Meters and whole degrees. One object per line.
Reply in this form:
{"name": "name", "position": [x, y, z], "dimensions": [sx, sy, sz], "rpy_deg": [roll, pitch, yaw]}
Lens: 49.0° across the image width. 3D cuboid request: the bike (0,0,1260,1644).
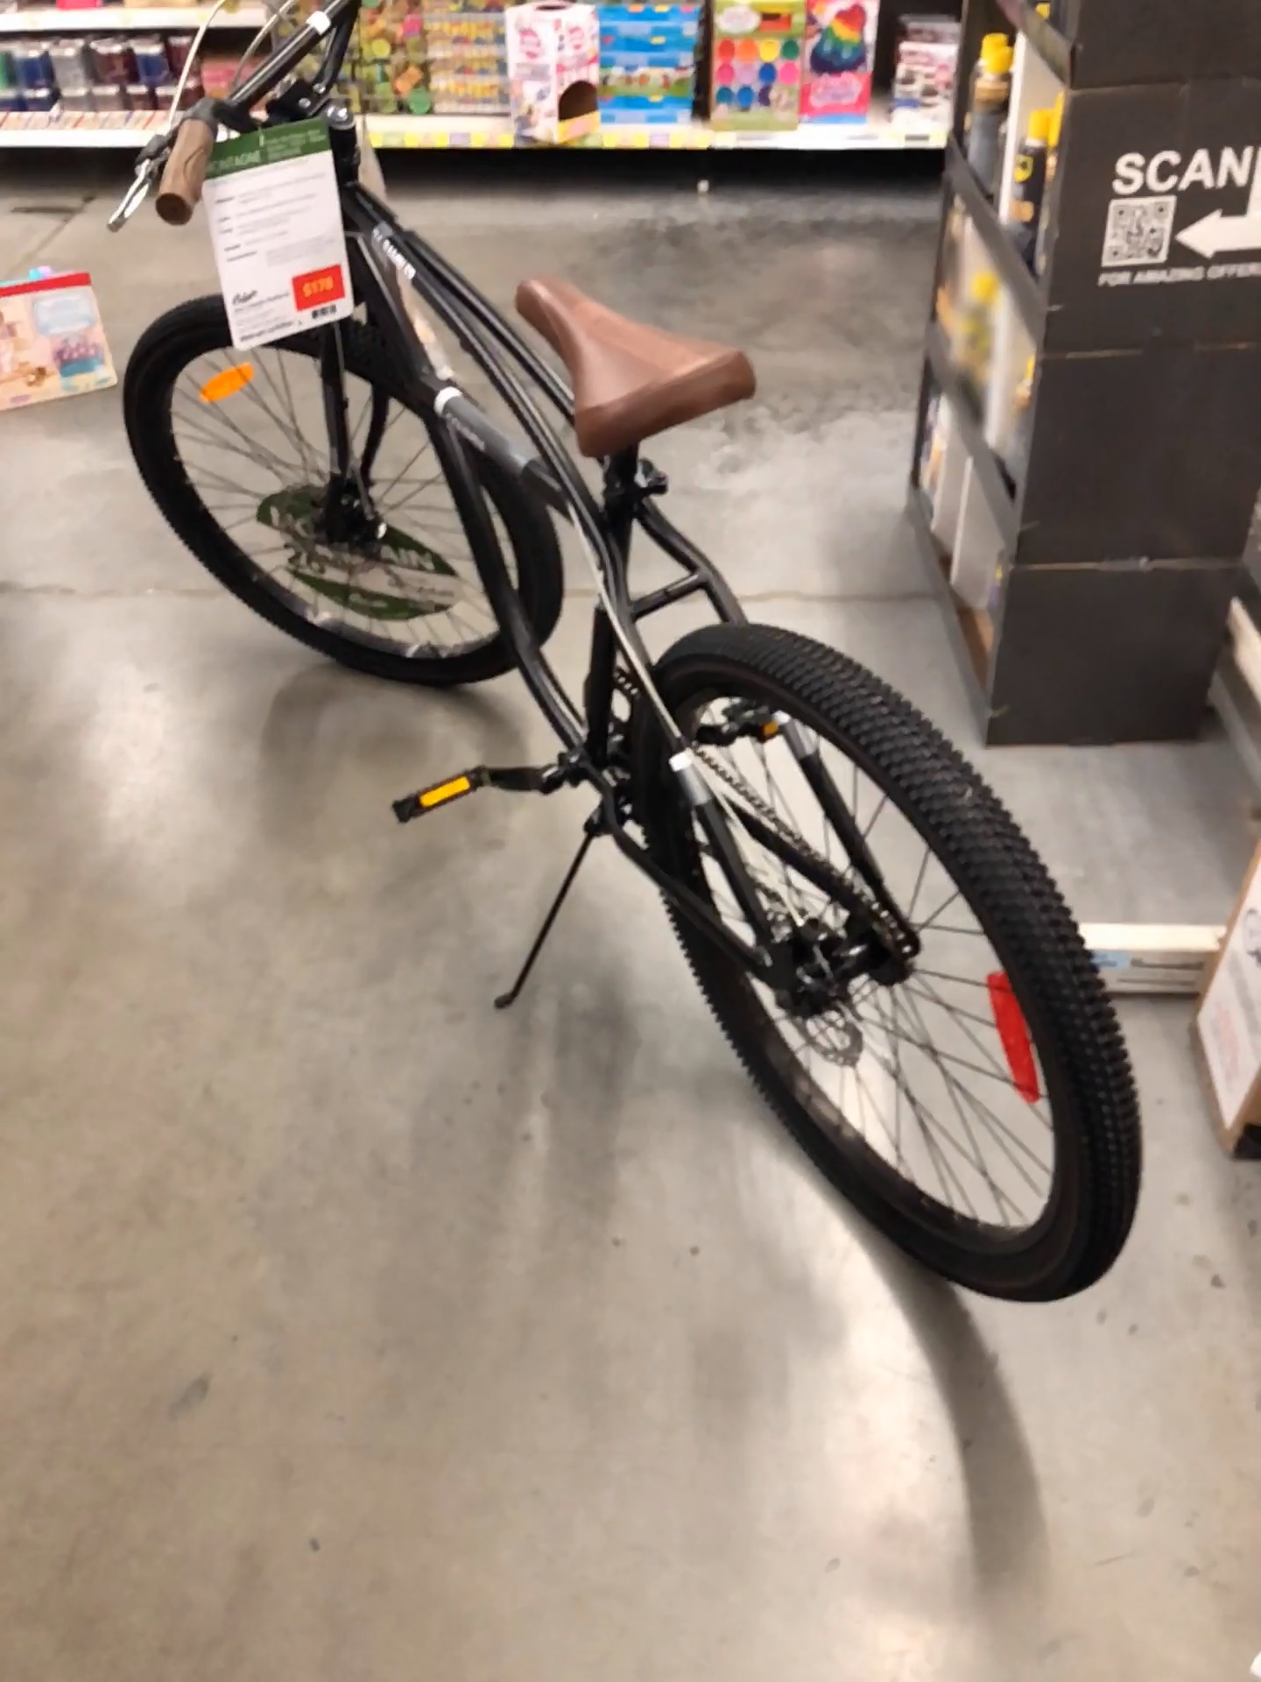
{"name": "bike", "position": [-0.204, -0.321, 1.305], "dimensions": [0.653, 0.975, 1.589], "rpy_deg": [-28, 52, -28]}
